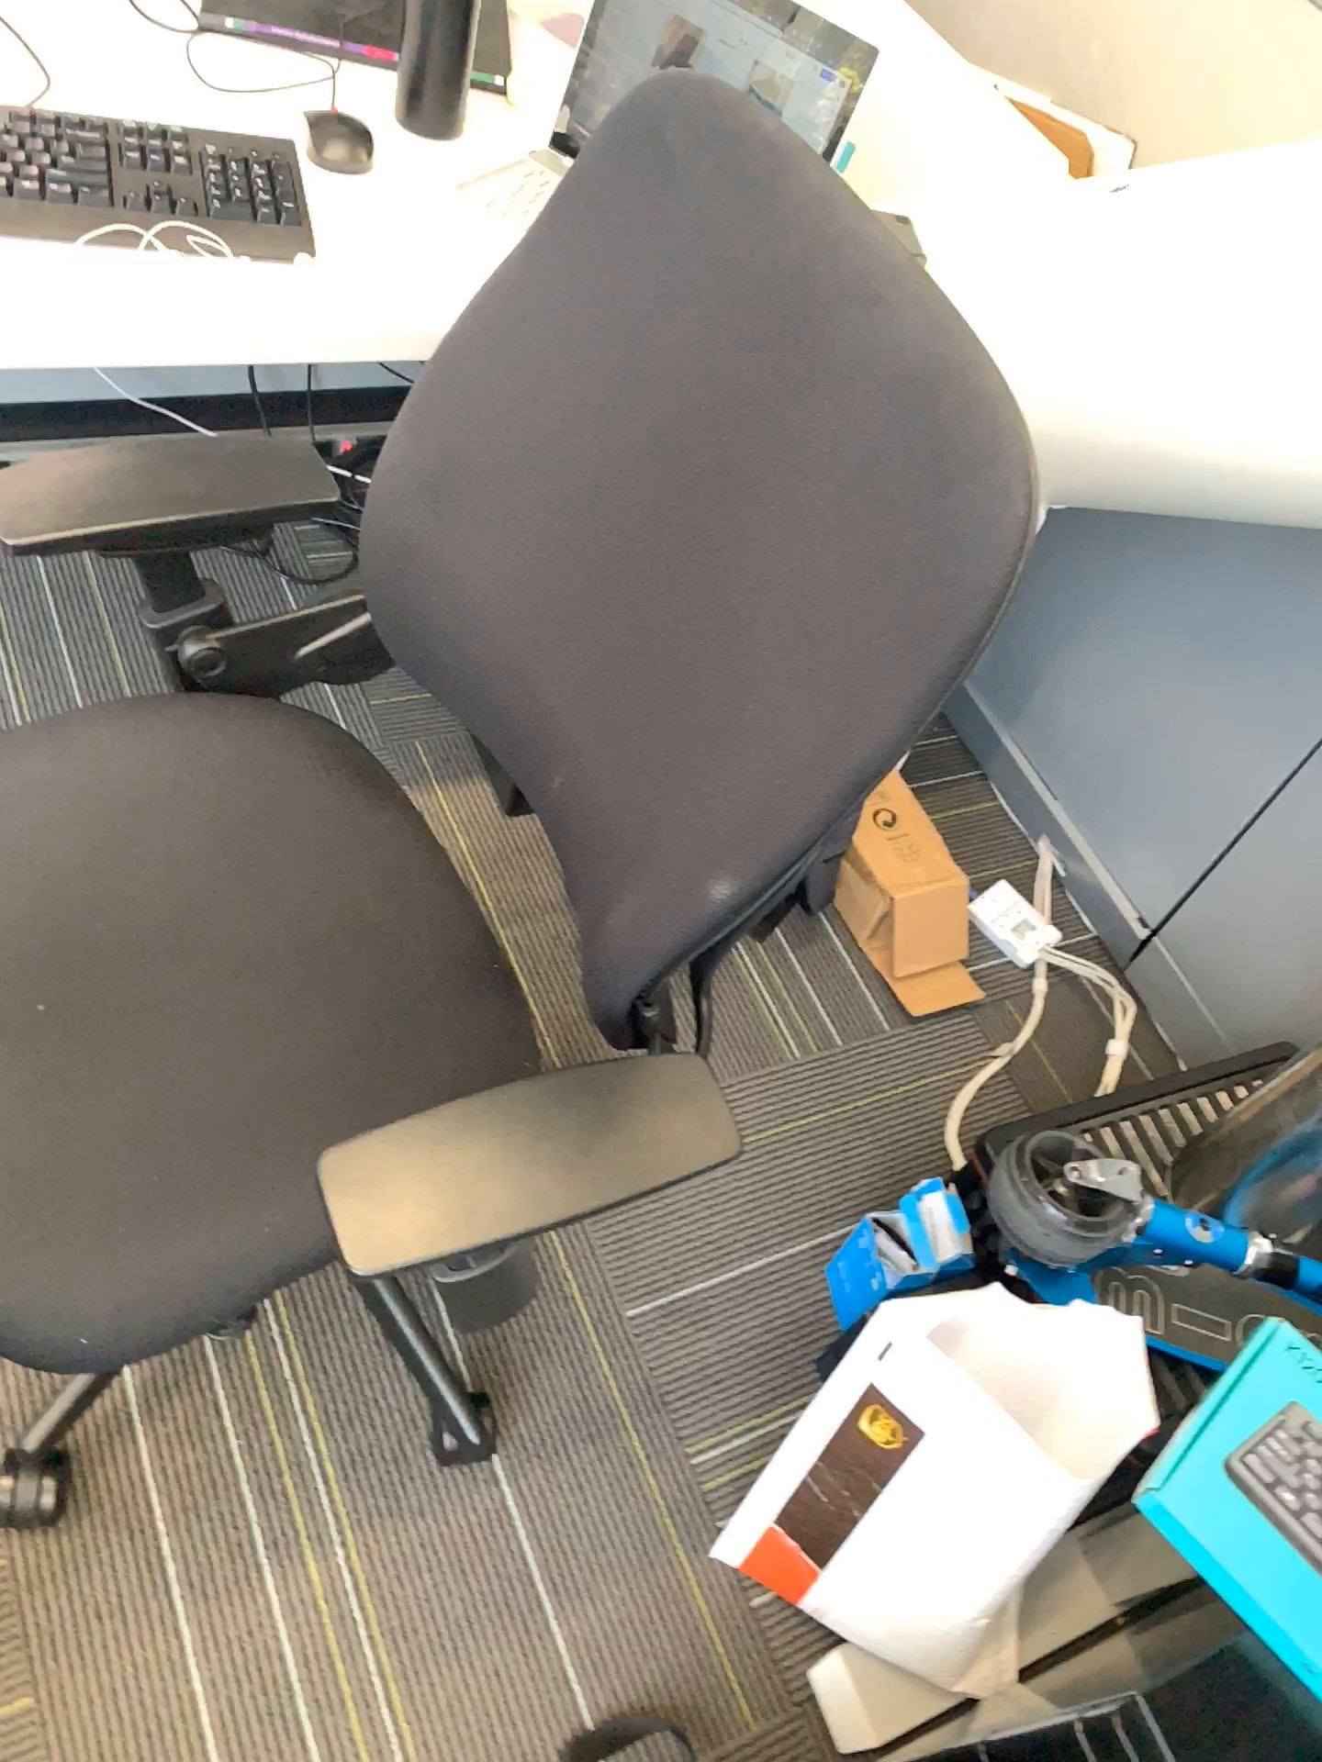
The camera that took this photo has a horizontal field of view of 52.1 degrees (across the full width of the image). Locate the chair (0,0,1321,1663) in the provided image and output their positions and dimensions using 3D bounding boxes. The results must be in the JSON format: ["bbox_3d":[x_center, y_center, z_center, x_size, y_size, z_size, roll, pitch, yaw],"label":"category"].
[{"bbox_3d":[-0.256,0.116,1.143,0.631,1.364,0.582,-12,58,-25],"label":"chair"}]
